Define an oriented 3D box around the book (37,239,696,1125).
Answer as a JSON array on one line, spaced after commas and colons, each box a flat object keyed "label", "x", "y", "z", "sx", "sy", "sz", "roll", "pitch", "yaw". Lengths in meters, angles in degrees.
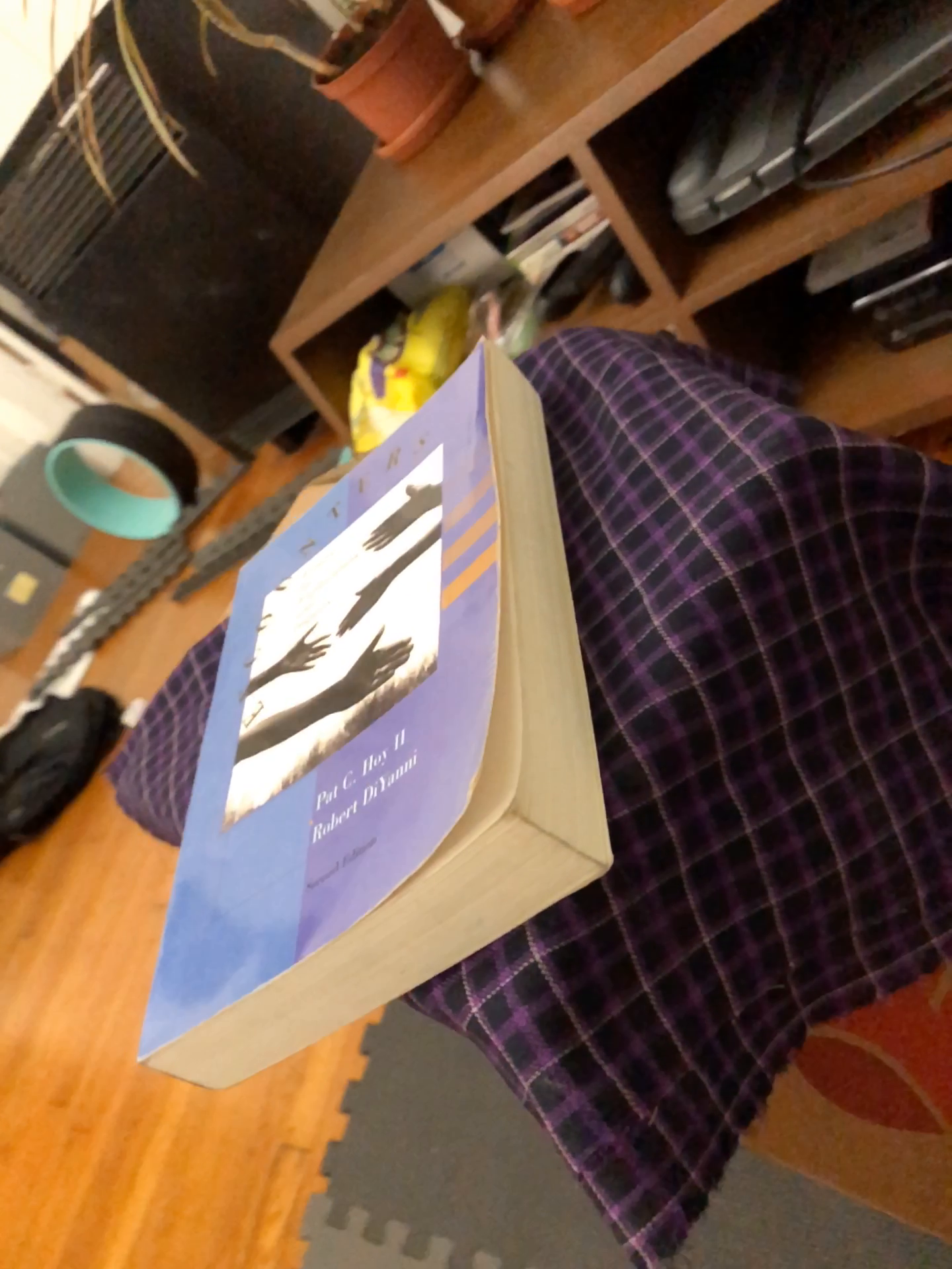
[{"label": "book", "x": -0.041, "y": -0.002, "z": 0.362, "sx": 0.200, "sy": 0.040, "sz": 0.261, "roll": -36, "pitch": 33, "yaw": 27}]
